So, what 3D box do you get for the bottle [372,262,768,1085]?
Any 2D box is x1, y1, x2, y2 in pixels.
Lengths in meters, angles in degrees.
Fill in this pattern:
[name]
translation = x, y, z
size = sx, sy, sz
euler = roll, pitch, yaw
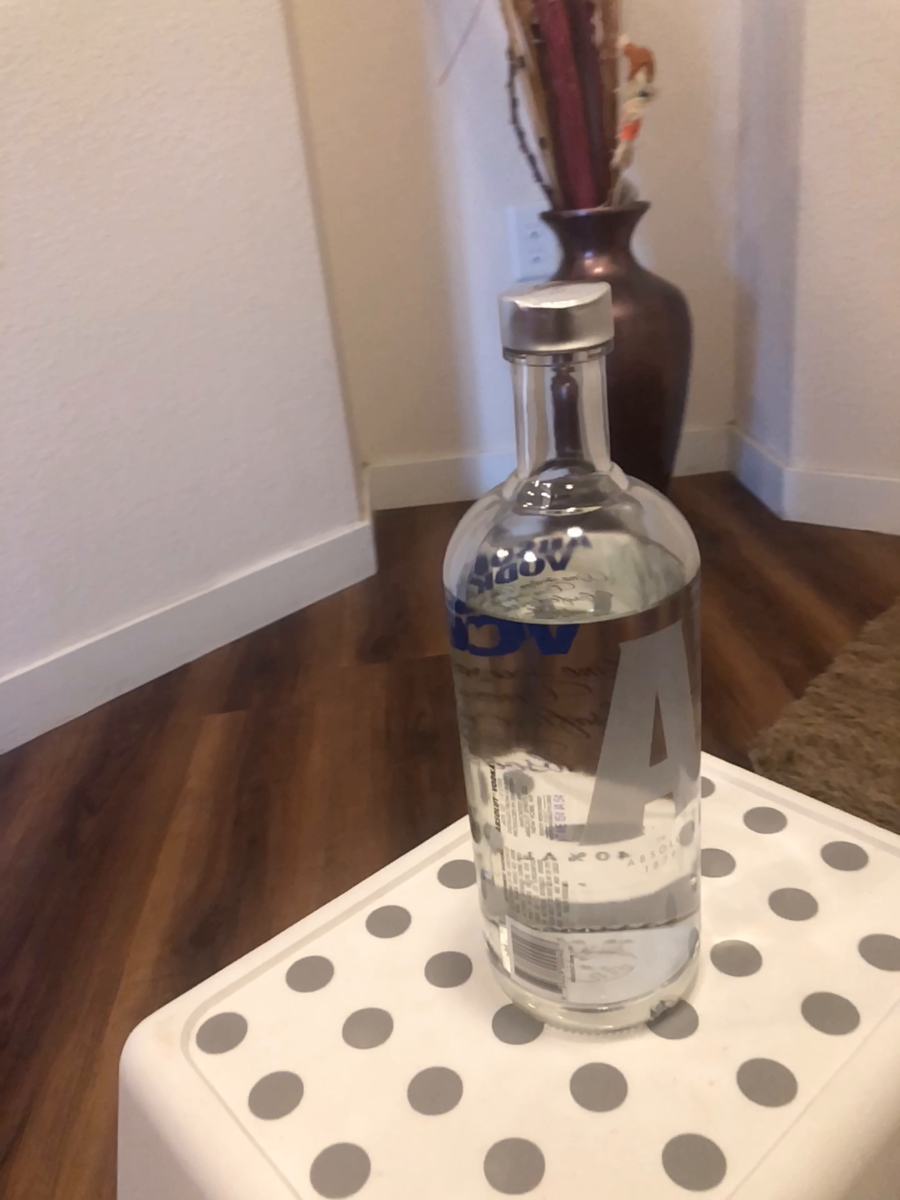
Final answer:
[bottle]
translation = 0.045, 0.026, 0.363
size = 0.090, 0.269, 0.100
euler = -12, 24, -14
